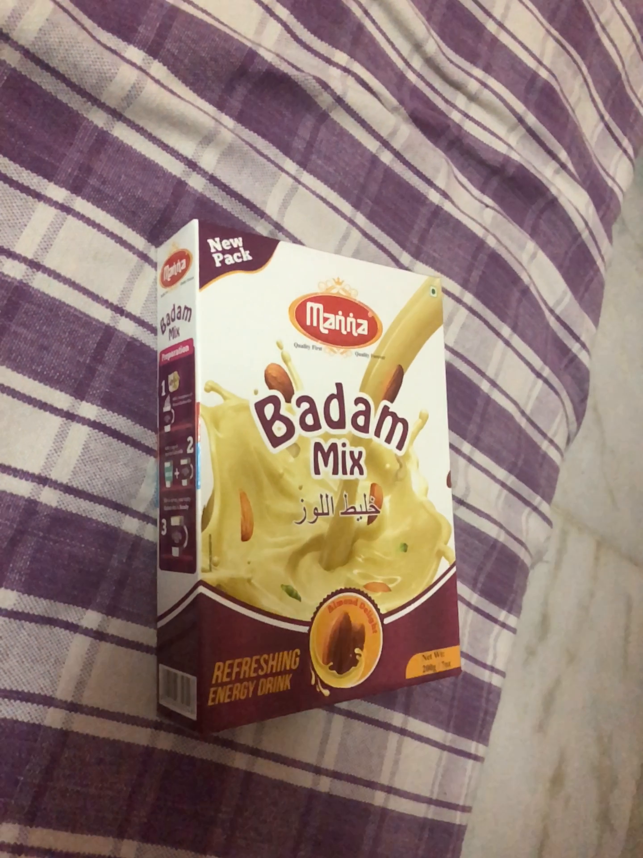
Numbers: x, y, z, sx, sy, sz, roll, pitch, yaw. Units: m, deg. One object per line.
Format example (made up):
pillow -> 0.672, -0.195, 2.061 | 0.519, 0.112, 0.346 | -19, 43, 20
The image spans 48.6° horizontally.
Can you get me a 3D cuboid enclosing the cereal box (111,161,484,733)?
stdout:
cereal box -> -0.006, 0.005, 0.283 | 0.131, 0.050, 0.180 | -1, 84, -38
